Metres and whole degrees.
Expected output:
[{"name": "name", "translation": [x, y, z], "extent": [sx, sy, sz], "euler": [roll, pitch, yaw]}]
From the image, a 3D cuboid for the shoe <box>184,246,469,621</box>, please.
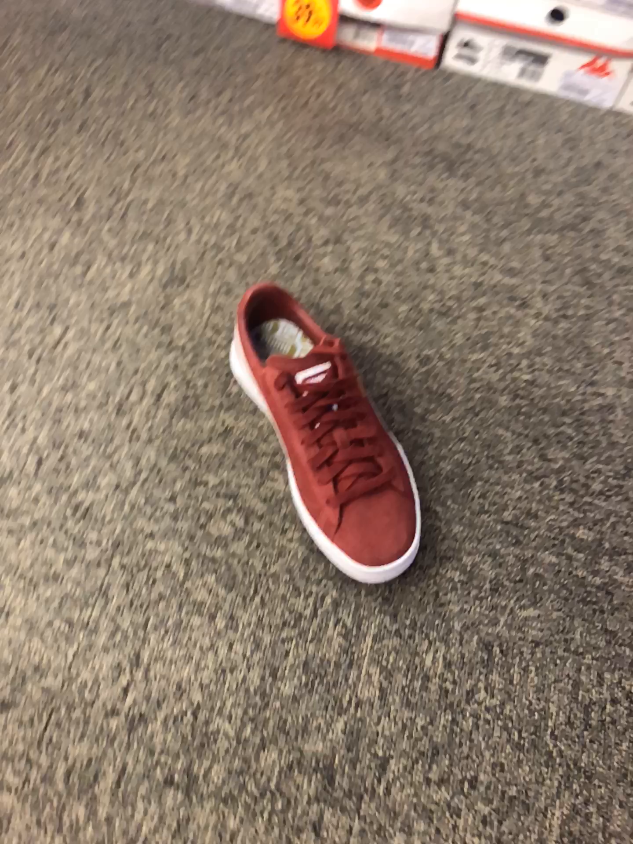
[{"name": "shoe", "translation": [-0.003, 0.002, 0.518], "extent": [0.100, 0.080, 0.250], "euler": [-21, 68, -14]}]
